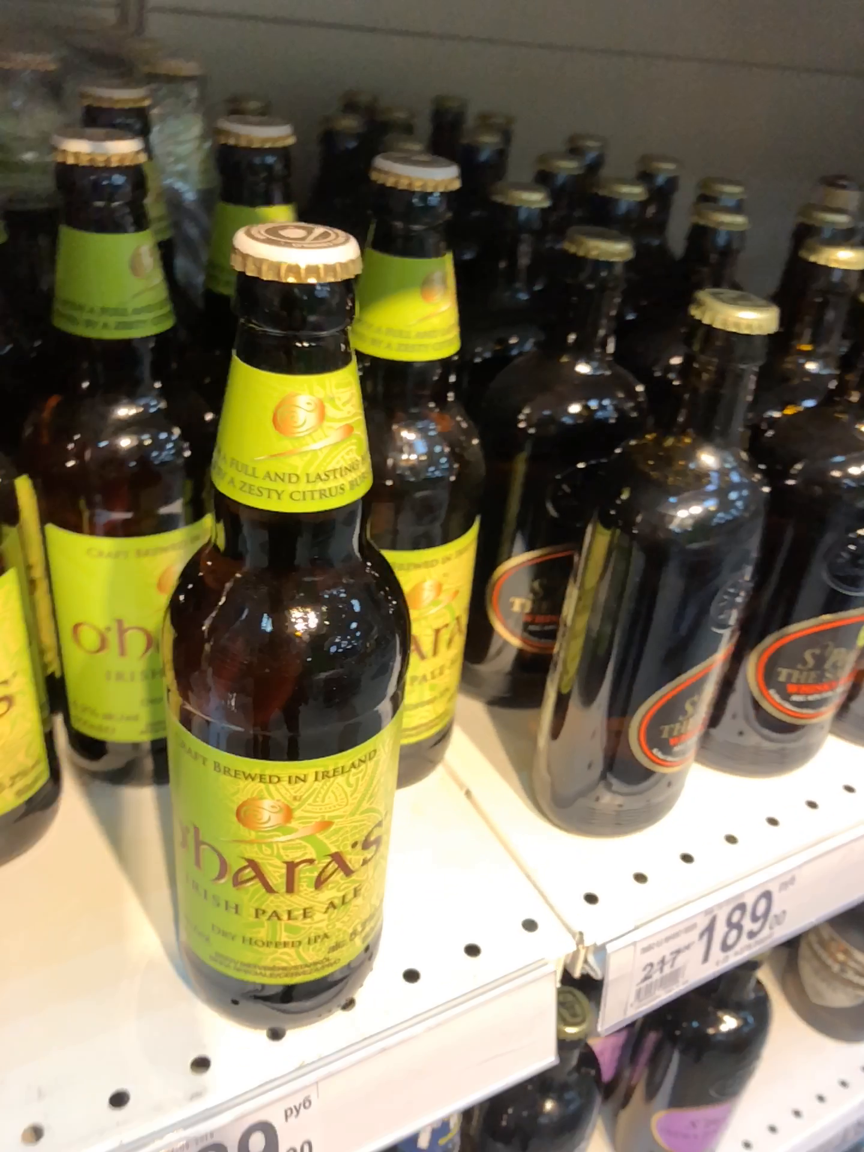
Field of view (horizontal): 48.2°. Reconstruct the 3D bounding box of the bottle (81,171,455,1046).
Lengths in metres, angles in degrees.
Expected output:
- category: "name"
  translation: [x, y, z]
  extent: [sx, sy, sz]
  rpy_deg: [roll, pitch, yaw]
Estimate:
- category: "bottle"
  translation: [-0.043, 0.026, 0.280]
  extent: [0.070, 0.249, 0.070]
  rpy_deg: [5, 32, -3]
